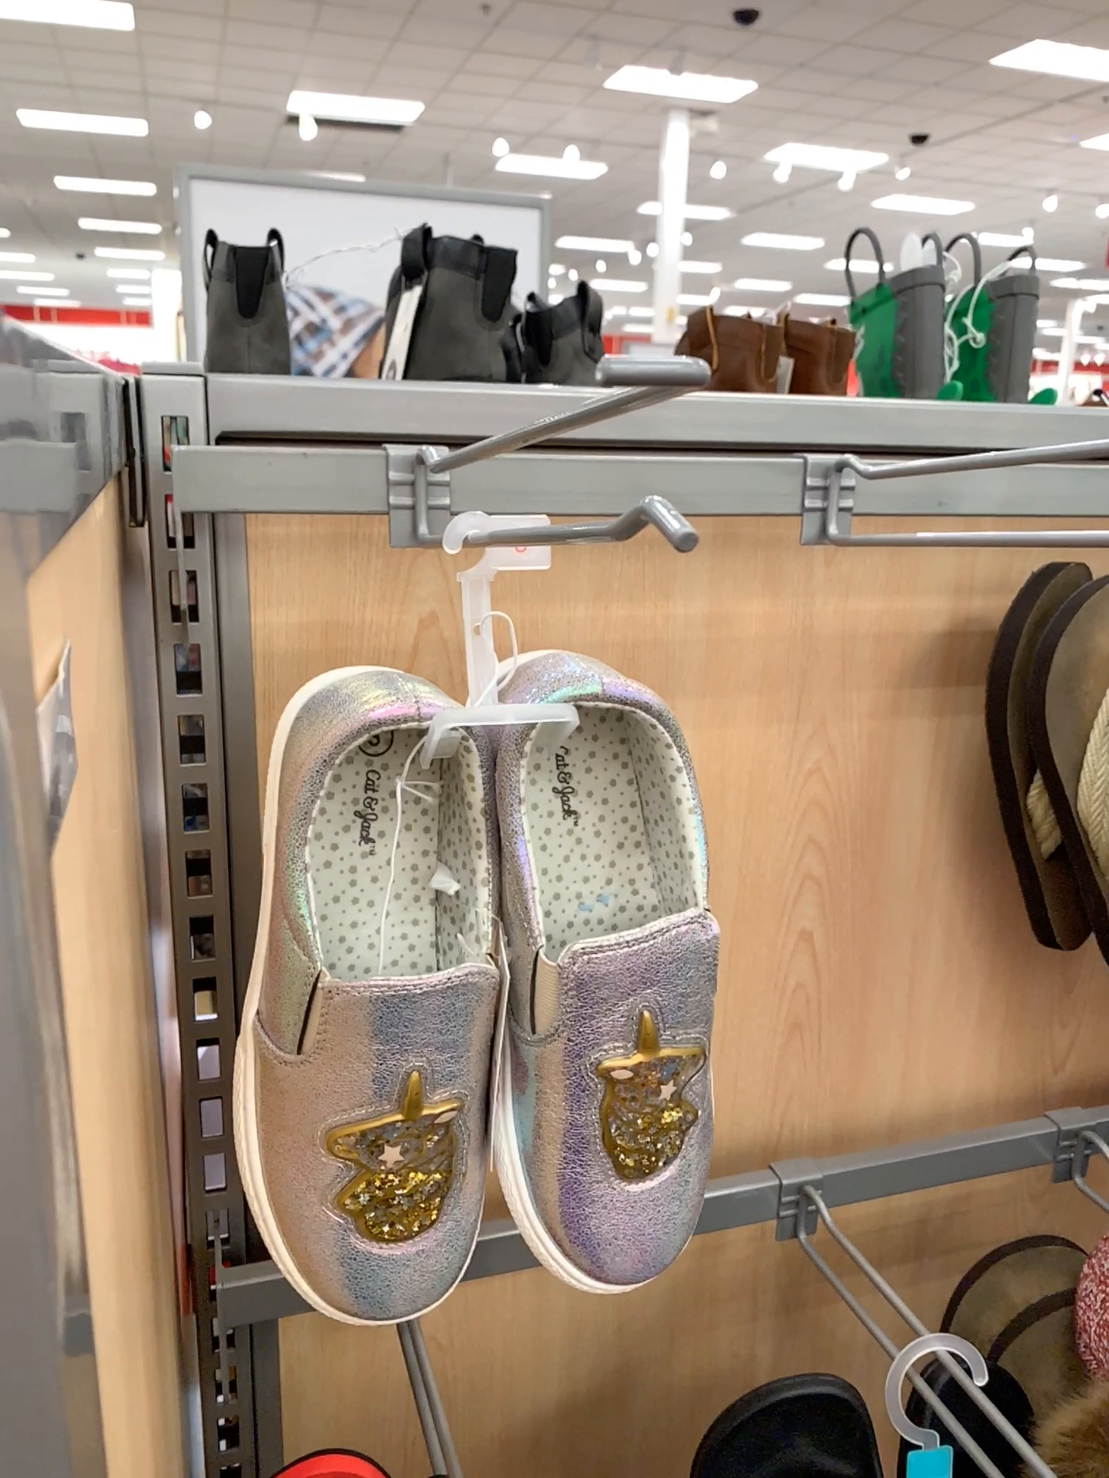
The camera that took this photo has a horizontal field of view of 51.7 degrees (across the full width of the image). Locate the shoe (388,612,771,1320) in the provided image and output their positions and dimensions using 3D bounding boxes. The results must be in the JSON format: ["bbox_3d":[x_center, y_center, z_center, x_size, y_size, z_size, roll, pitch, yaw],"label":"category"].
[{"bbox_3d":[0.003,0.070,0.428,0.100,0.221,0.113,-4,12,-21],"label":"shoe"}]

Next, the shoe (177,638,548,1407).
[{"bbox_3d":[-0.069,0.083,0.402,0.100,0.221,0.113,-4,12,-21],"label":"shoe"}]
